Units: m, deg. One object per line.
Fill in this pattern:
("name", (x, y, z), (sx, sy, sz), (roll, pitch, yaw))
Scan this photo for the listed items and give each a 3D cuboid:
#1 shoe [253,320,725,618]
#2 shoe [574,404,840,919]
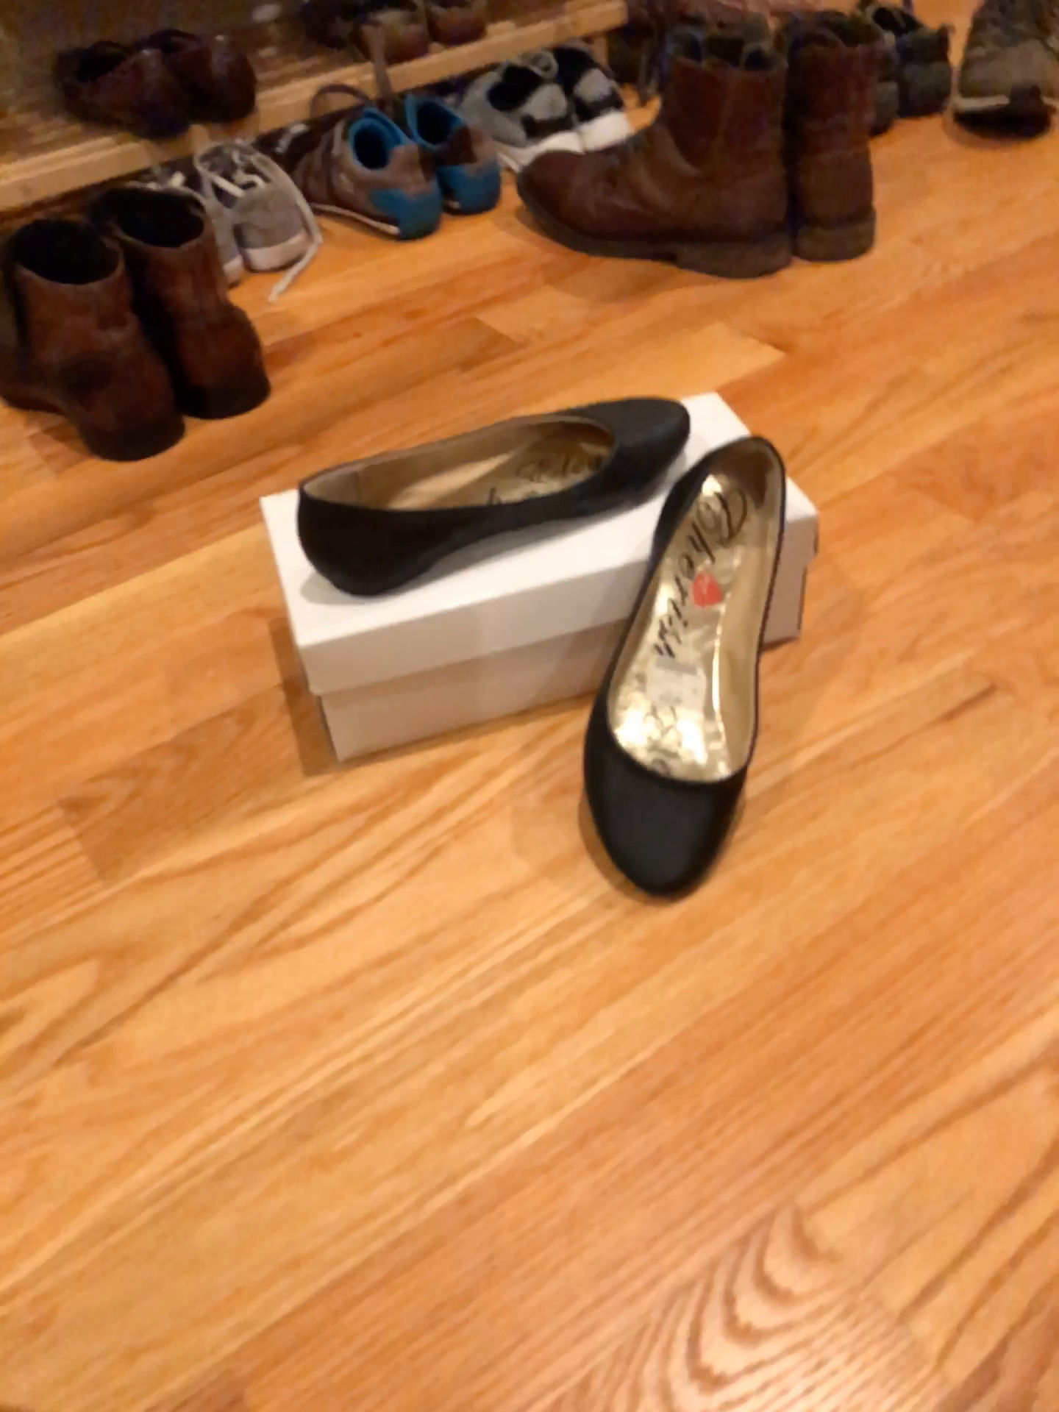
("shoe", (-0.017, -0.133, 0.622), (0.240, 0.060, 0.076), (-23, 47, -16))
("shoe", (0.088, -0.021, 0.581), (0.076, 0.060, 0.240), (13, 82, -1))
